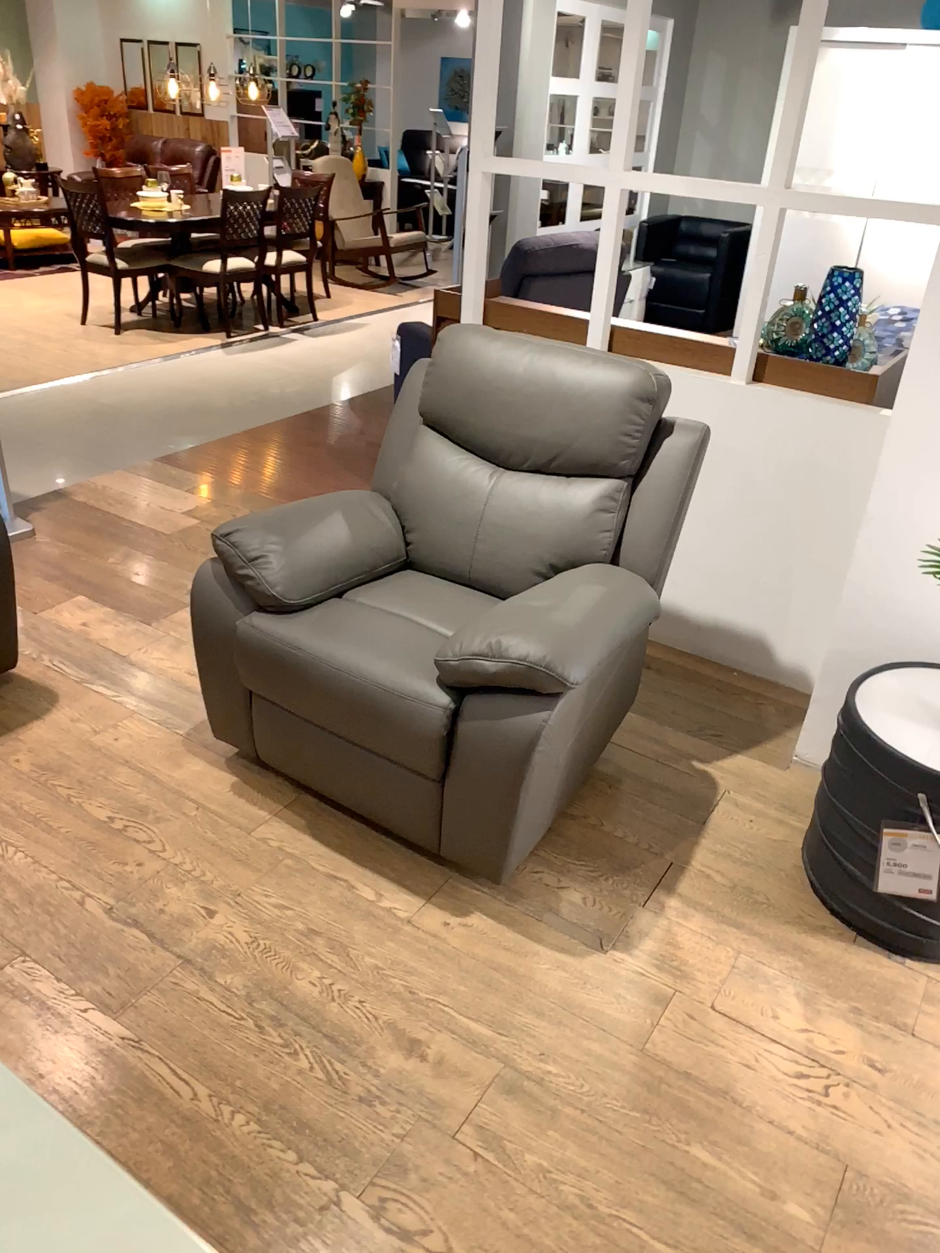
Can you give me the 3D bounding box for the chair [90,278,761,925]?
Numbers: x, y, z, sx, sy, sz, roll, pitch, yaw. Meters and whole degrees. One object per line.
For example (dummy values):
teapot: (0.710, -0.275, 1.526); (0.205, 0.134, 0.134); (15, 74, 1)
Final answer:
chair: (-0.078, -0.178, 2.170); (1.002, 0.936, 0.943); (21, 33, 28)
